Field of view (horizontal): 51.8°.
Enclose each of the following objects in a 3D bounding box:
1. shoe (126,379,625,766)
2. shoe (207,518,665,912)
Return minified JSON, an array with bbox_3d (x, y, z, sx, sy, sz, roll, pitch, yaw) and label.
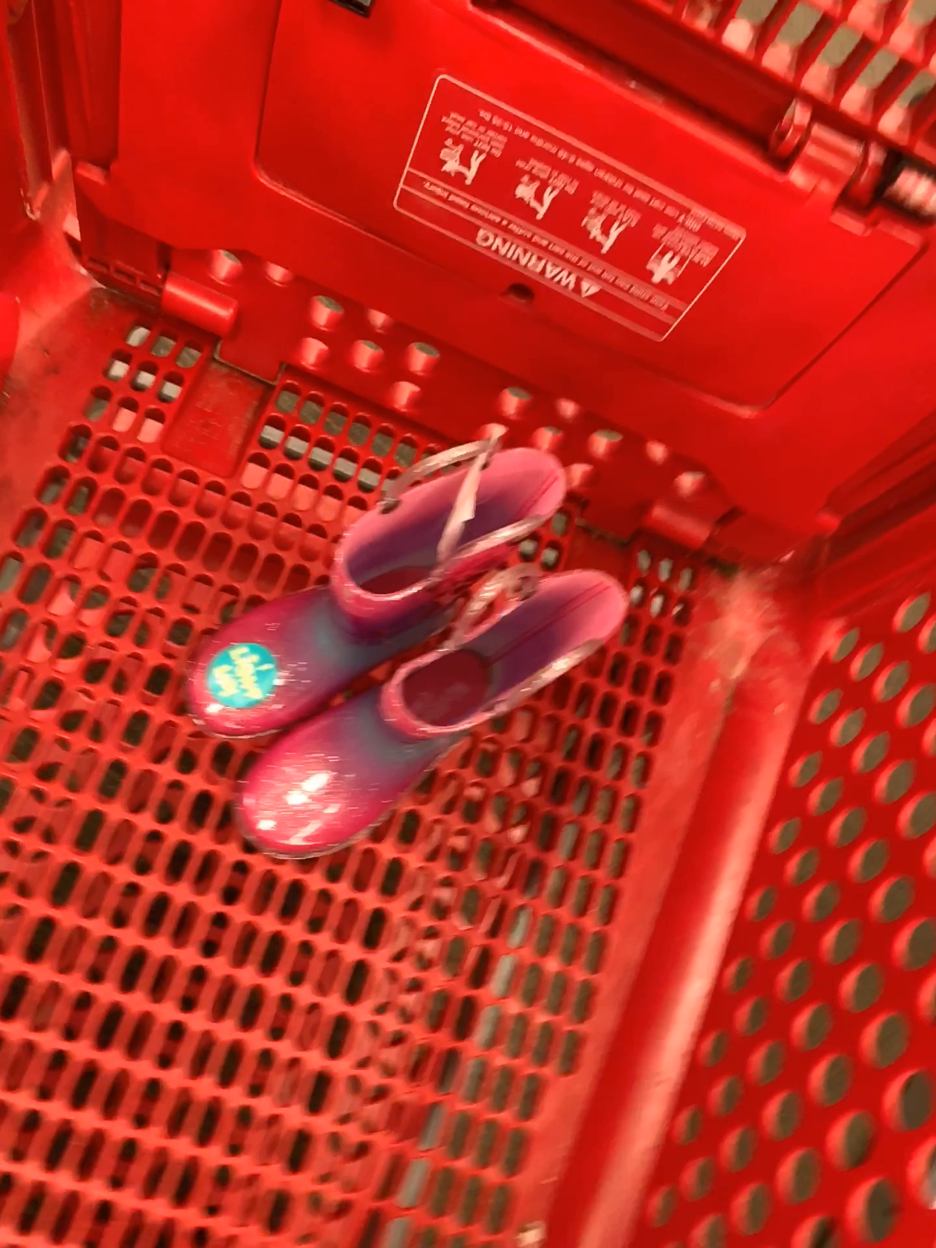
[{"bbox_3d":[-0.048,-0.018,0.463,0.200,0.140,0.070,-30,88,-19],"label":"shoe"},{"bbox_3d":[-0.024,0.045,0.468,0.190,0.140,0.070,-34,89,-19],"label":"shoe"}]
